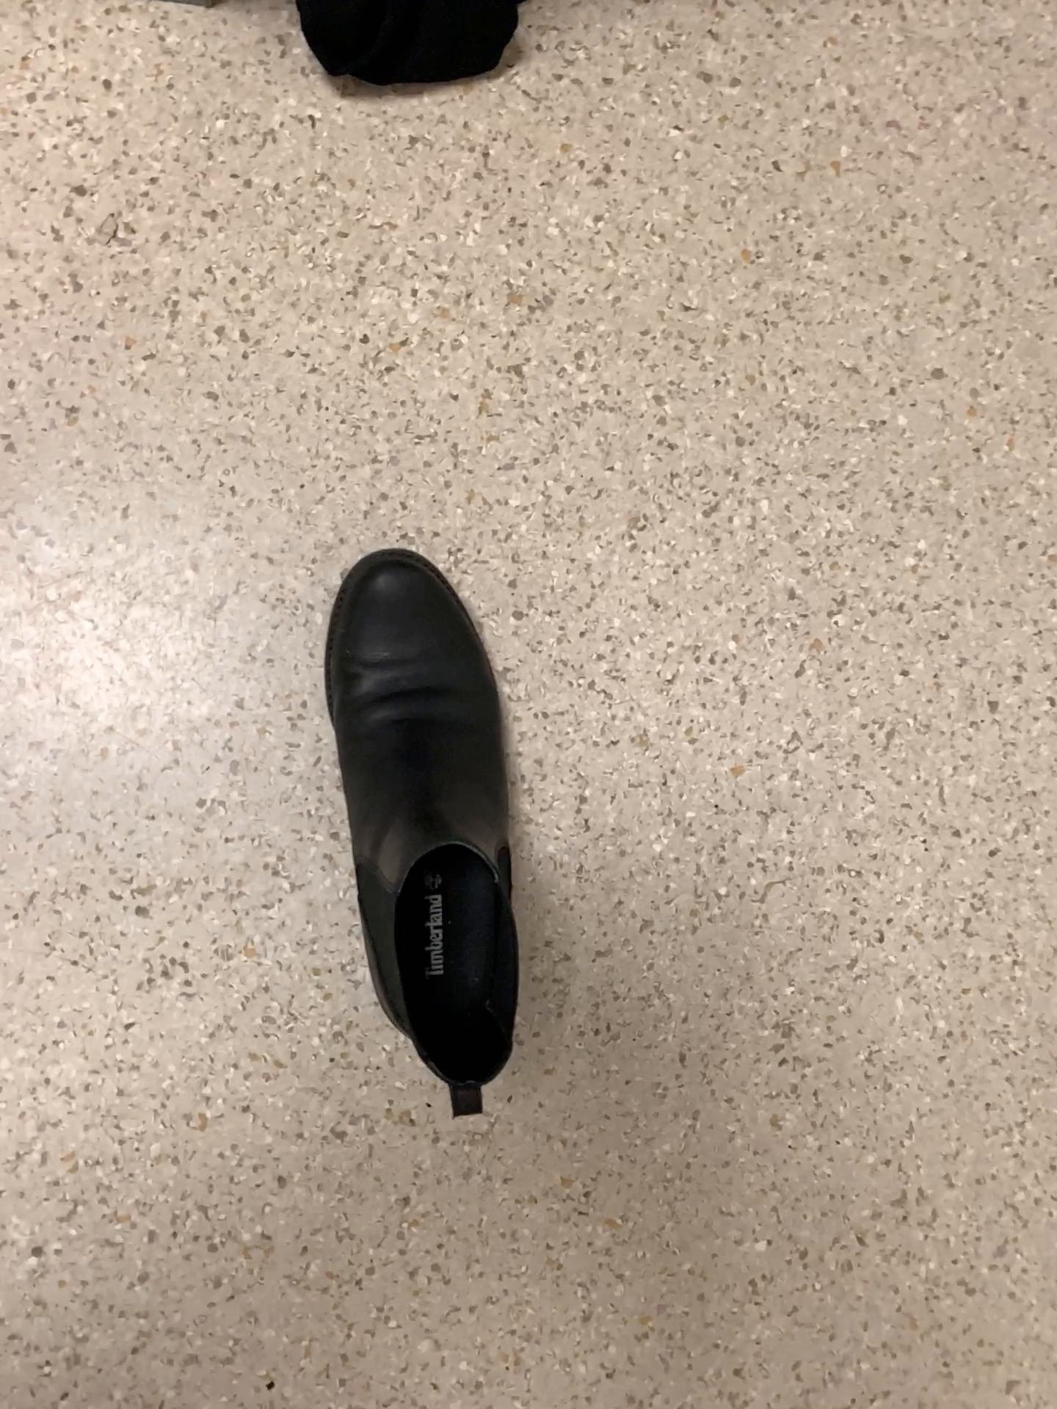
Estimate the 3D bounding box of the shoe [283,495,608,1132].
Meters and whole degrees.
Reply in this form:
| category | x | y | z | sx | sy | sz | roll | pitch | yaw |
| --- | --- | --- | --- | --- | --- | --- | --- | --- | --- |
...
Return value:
| category | x | y | z | sx | sy | sz | roll | pitch | yaw |
| --- | --- | --- | --- | --- | --- | --- | --- | --- | --- |
| shoe | -0.049 | 0.048 | 0.553 | 0.107 | 0.147 | 0.270 | -8 | 89 | -10 |
